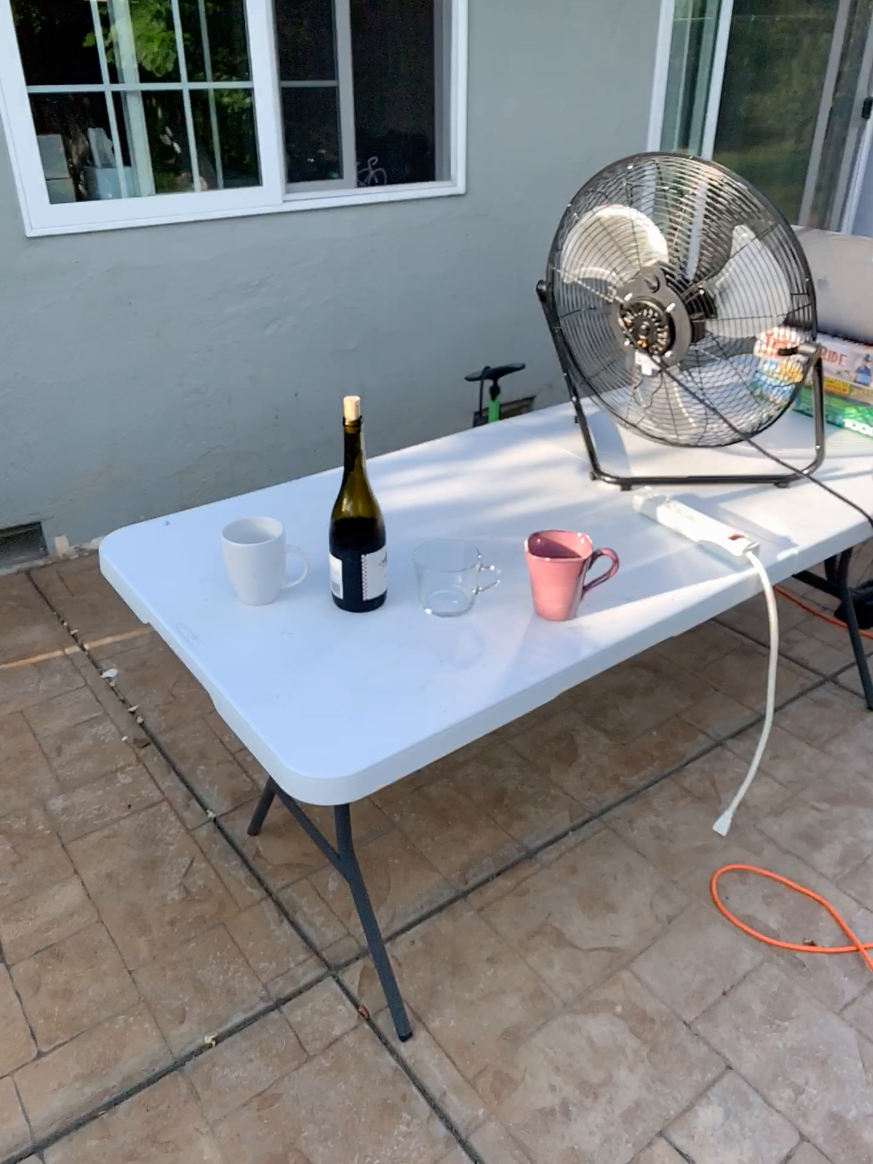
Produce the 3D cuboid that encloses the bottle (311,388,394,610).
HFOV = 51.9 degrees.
[{"bbox_3d":[-0.116,-0.117,1.303,0.100,0.303,0.103,0,30,0],"label":"bottle"}]
